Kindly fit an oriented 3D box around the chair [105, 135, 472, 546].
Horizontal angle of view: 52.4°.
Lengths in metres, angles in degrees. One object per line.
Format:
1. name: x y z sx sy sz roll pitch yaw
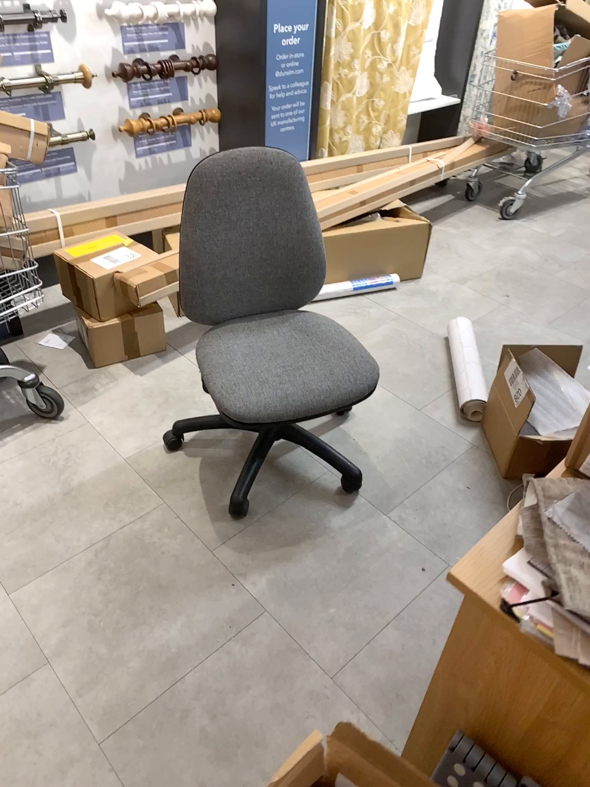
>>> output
1. chair: -0.067 -0.173 1.570 0.628 0.750 0.629 -13 41 -20
